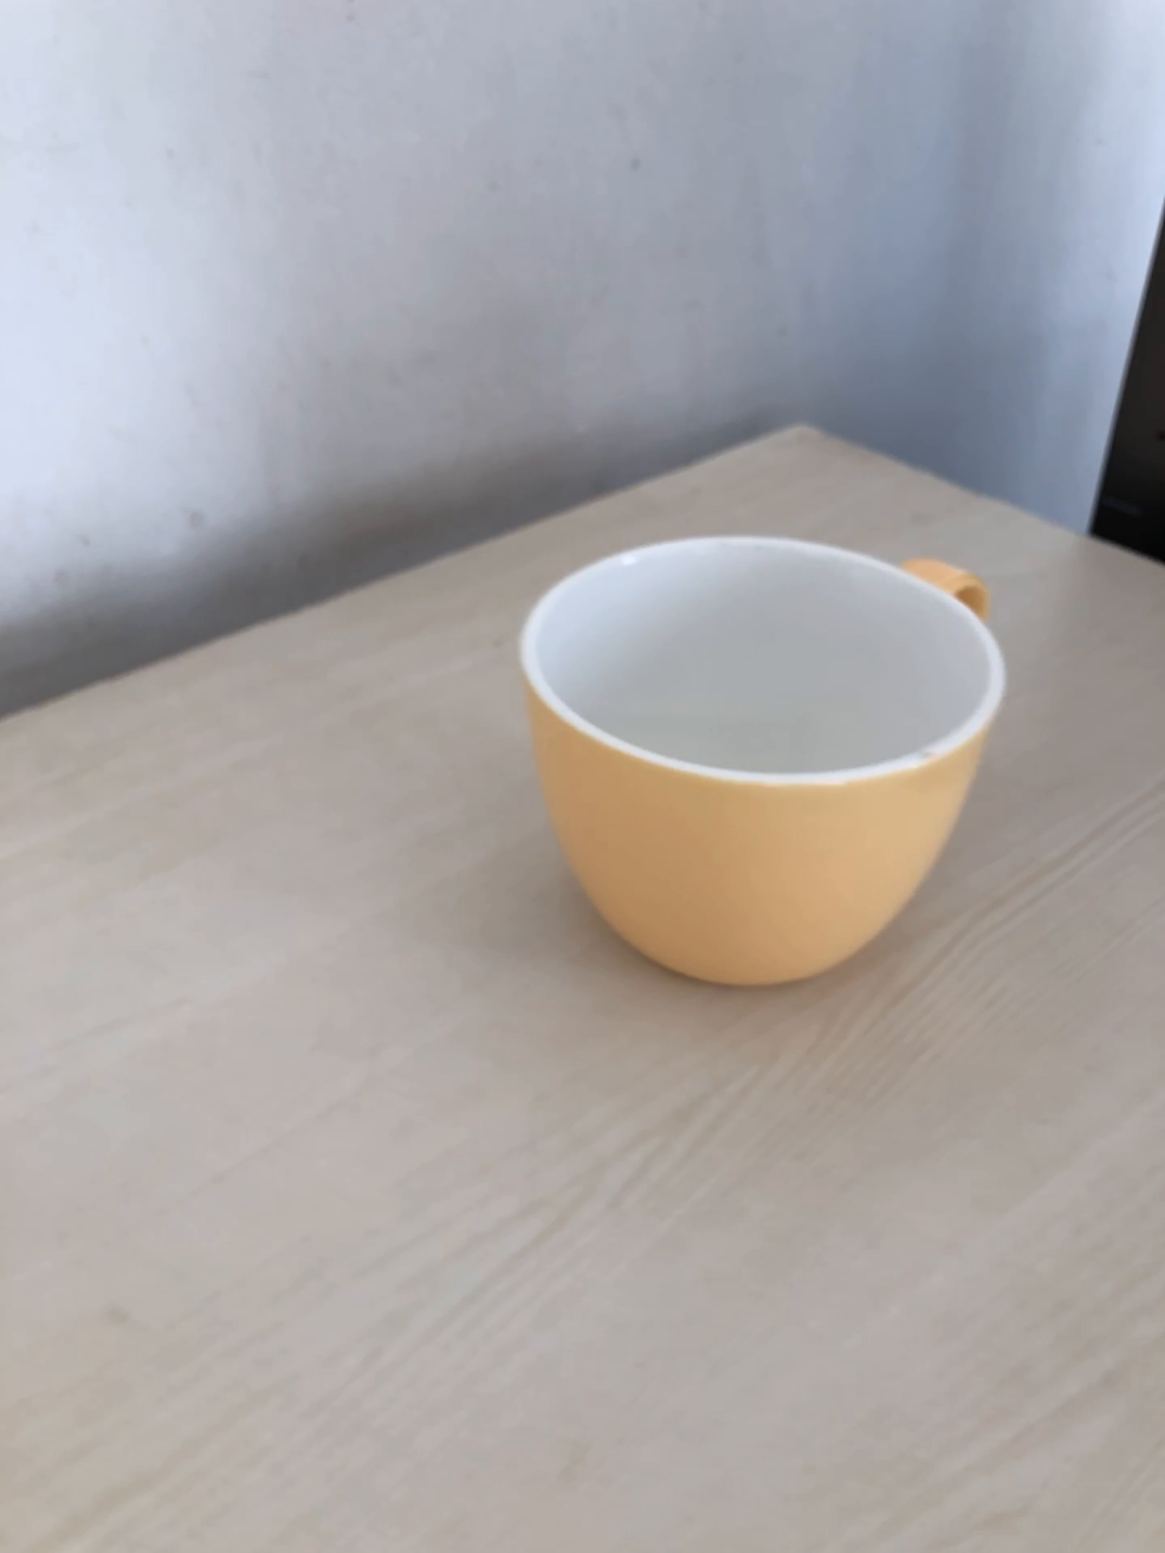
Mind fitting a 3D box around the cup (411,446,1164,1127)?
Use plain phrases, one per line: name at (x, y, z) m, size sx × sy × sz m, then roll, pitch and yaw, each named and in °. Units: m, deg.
cup at (0.048, -0.009, 0.316) m, size 0.141 × 0.079 × 0.100 m, roll -26°, pitch 43°, yaw -31°
